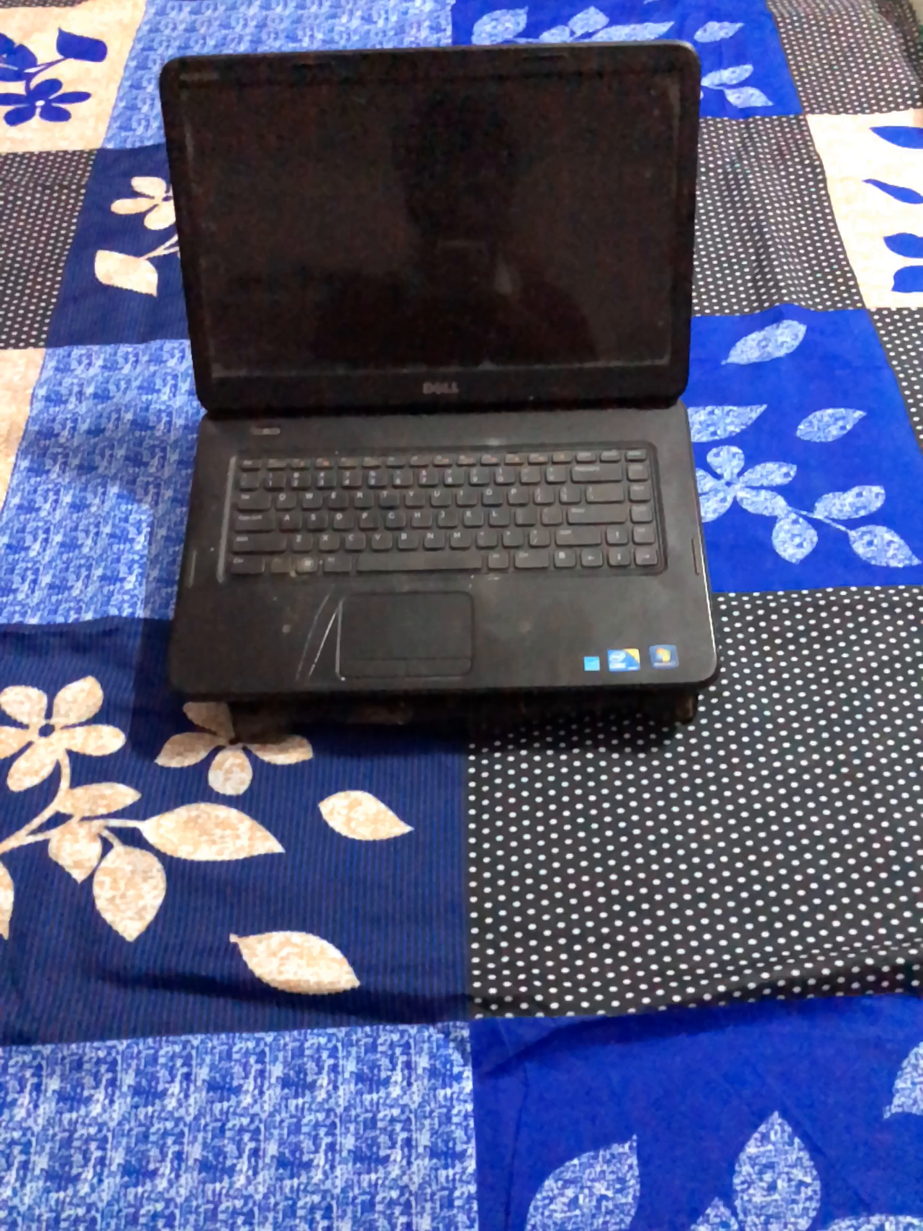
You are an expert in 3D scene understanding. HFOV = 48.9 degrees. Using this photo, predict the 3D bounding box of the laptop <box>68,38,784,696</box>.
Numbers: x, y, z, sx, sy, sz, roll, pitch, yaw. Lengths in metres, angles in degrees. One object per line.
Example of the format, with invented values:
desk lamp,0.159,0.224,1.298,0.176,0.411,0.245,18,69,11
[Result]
laptop,-0.017,-0.175,0.689,0.363,0.187,0.390,-2,60,0
